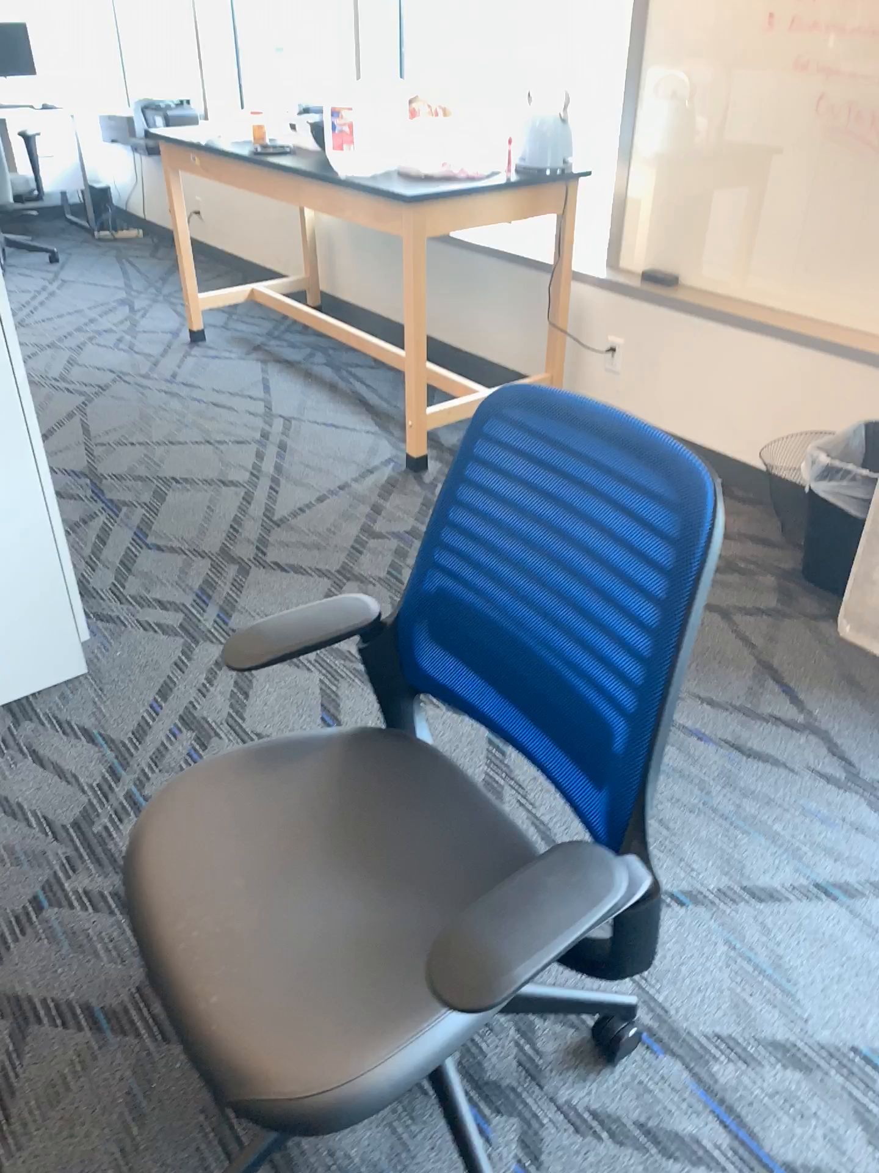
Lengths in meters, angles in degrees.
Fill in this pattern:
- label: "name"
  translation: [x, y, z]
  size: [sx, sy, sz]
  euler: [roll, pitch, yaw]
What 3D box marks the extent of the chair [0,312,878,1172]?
- label: "chair"
  translation: [-0.051, 0.275, 1.001]
  size: [0.682, 0.882, 0.704]
  euler: [-22, 39, -32]
